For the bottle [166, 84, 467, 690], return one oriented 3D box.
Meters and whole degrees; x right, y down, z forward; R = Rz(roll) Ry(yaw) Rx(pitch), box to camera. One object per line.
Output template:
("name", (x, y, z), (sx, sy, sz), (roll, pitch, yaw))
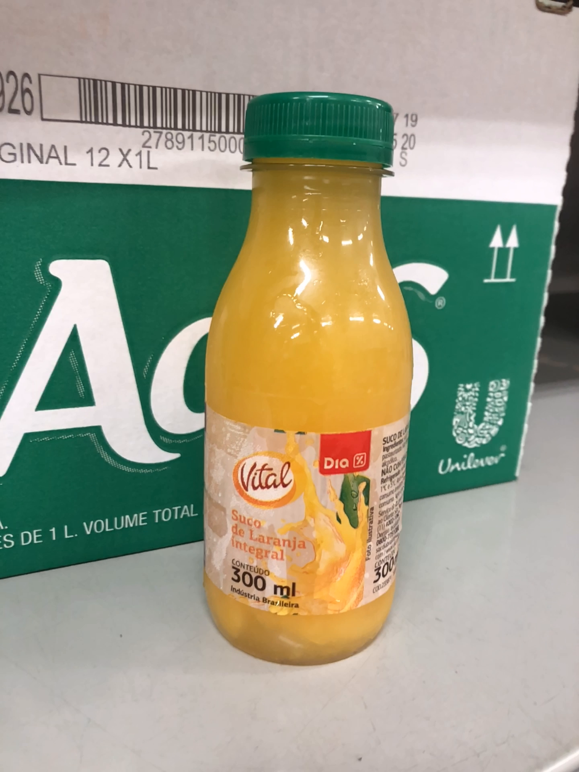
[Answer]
("bottle", (0.008, -0.001, 0.199), (0.070, 0.159, 0.060), (5, 17, 11))
